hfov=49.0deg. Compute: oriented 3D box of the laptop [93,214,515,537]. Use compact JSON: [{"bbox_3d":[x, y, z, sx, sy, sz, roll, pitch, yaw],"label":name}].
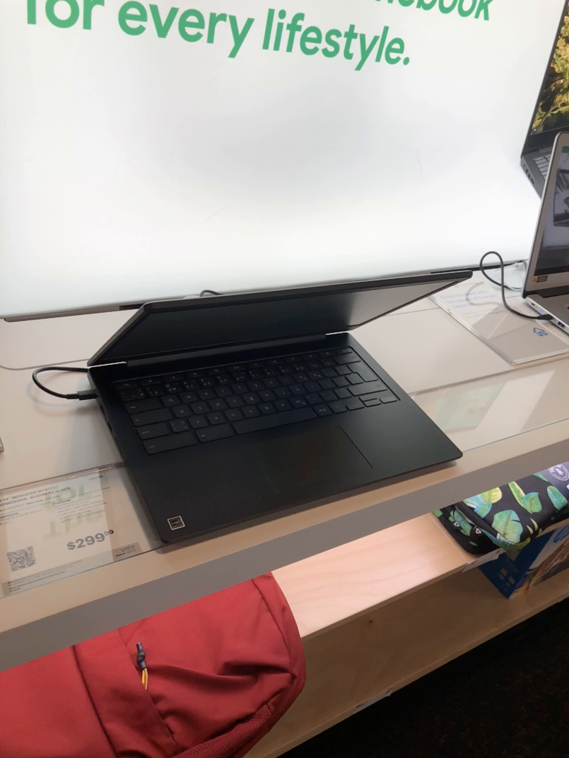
[{"bbox_3d":[0.004,-0.028,0.586,0.307,0.157,0.214,-10,44,-28],"label":"laptop"}]
